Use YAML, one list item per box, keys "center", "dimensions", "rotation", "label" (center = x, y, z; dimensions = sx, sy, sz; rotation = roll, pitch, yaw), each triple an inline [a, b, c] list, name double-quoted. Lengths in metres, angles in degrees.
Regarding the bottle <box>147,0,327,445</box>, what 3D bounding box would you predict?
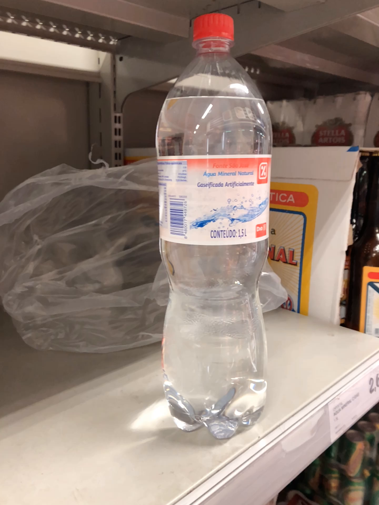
- center: [0.024, -0.023, 0.343]
  dimensions: [0.100, 0.319, 0.100]
  rotation: [1, 14, 0]
  label: "bottle"
